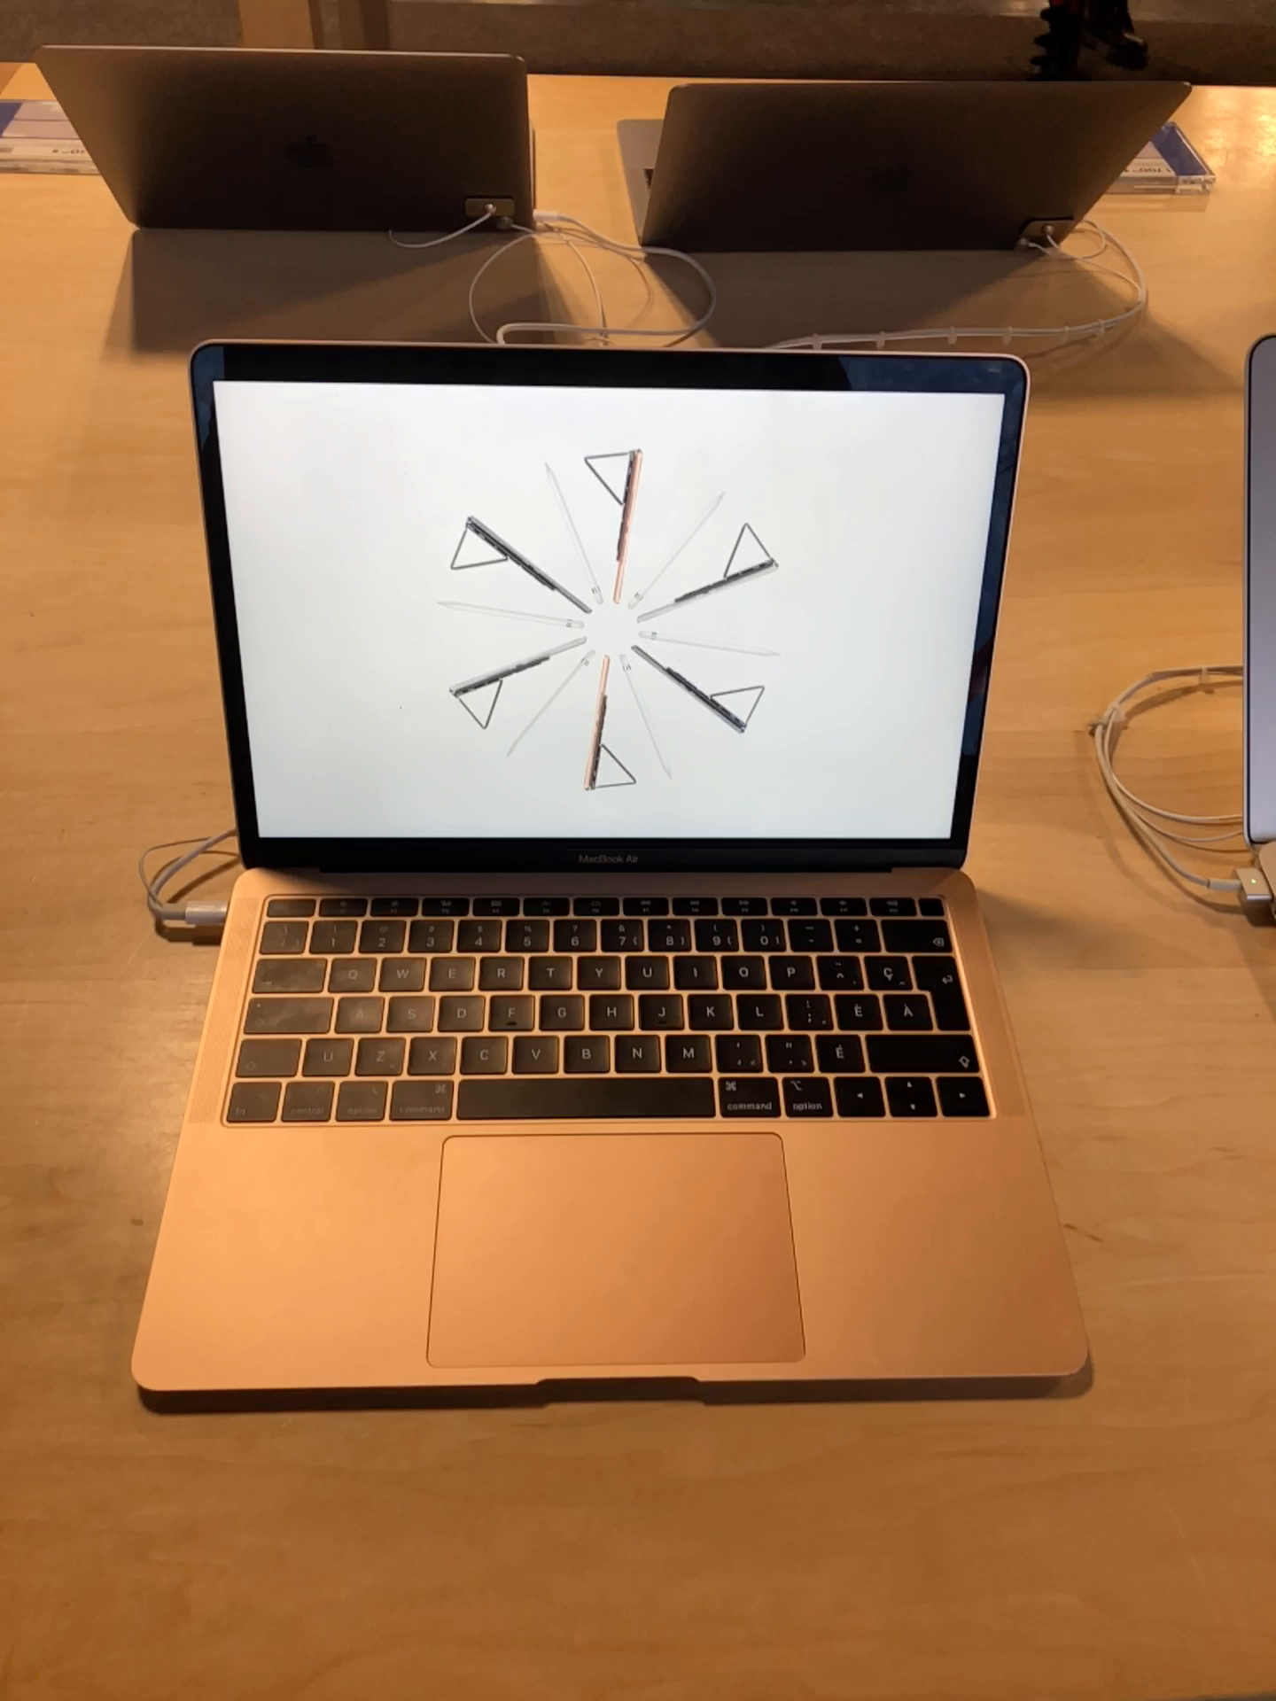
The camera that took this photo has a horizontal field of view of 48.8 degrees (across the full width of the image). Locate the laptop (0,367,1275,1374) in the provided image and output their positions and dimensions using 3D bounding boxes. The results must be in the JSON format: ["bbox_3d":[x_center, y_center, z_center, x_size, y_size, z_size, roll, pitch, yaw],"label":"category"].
[{"bbox_3d":[-0.003,-0.004,0.465,0.291,0.183,0.285,0,46,-1],"label":"laptop"}]
